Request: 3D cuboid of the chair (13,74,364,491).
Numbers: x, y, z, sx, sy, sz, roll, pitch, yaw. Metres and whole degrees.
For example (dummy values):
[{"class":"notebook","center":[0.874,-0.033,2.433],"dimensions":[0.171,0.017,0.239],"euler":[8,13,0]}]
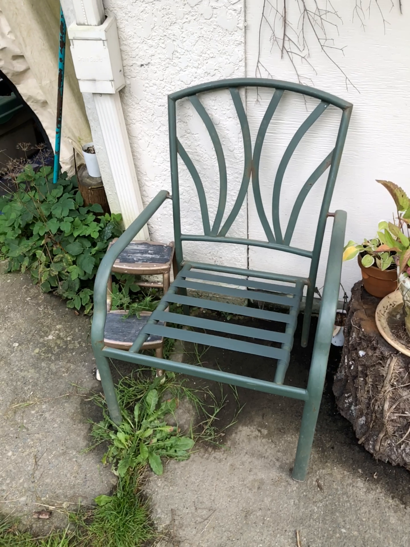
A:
[{"class":"chair","center":[0.060,-0.008,1.295],"dimensions":[0.621,0.904,0.684],"euler":[7,39,16]}]
